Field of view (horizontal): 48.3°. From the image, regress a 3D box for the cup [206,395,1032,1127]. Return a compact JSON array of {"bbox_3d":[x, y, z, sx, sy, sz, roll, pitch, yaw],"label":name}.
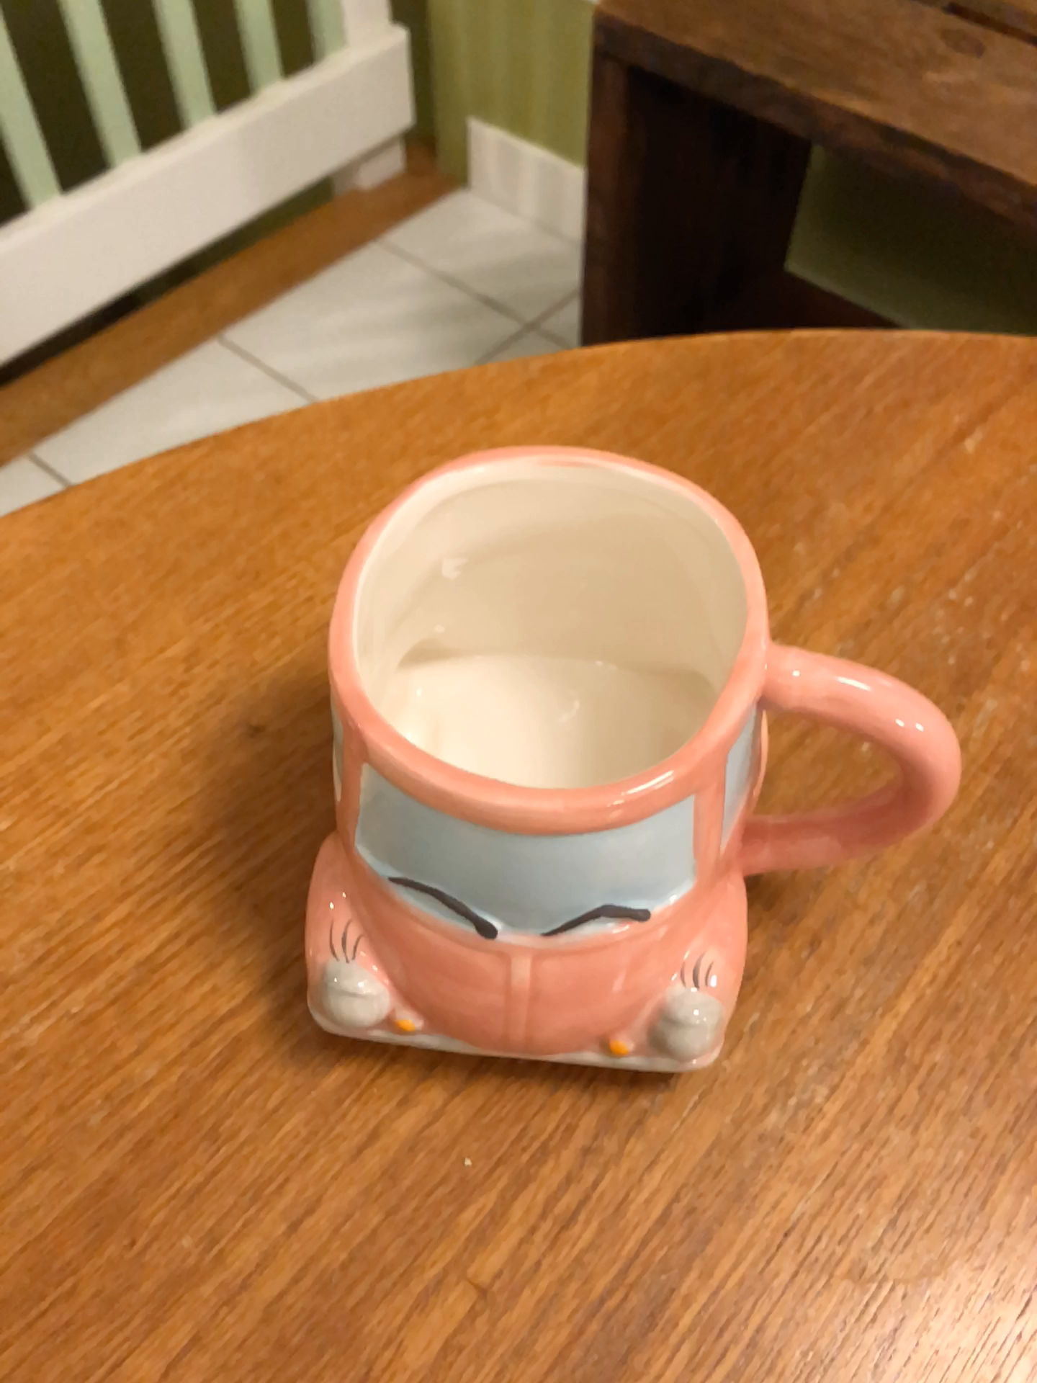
[{"bbox_3d":[0.022,0.016,0.271,0.139,0.097,0.128,0,54,0],"label":"cup"}]
